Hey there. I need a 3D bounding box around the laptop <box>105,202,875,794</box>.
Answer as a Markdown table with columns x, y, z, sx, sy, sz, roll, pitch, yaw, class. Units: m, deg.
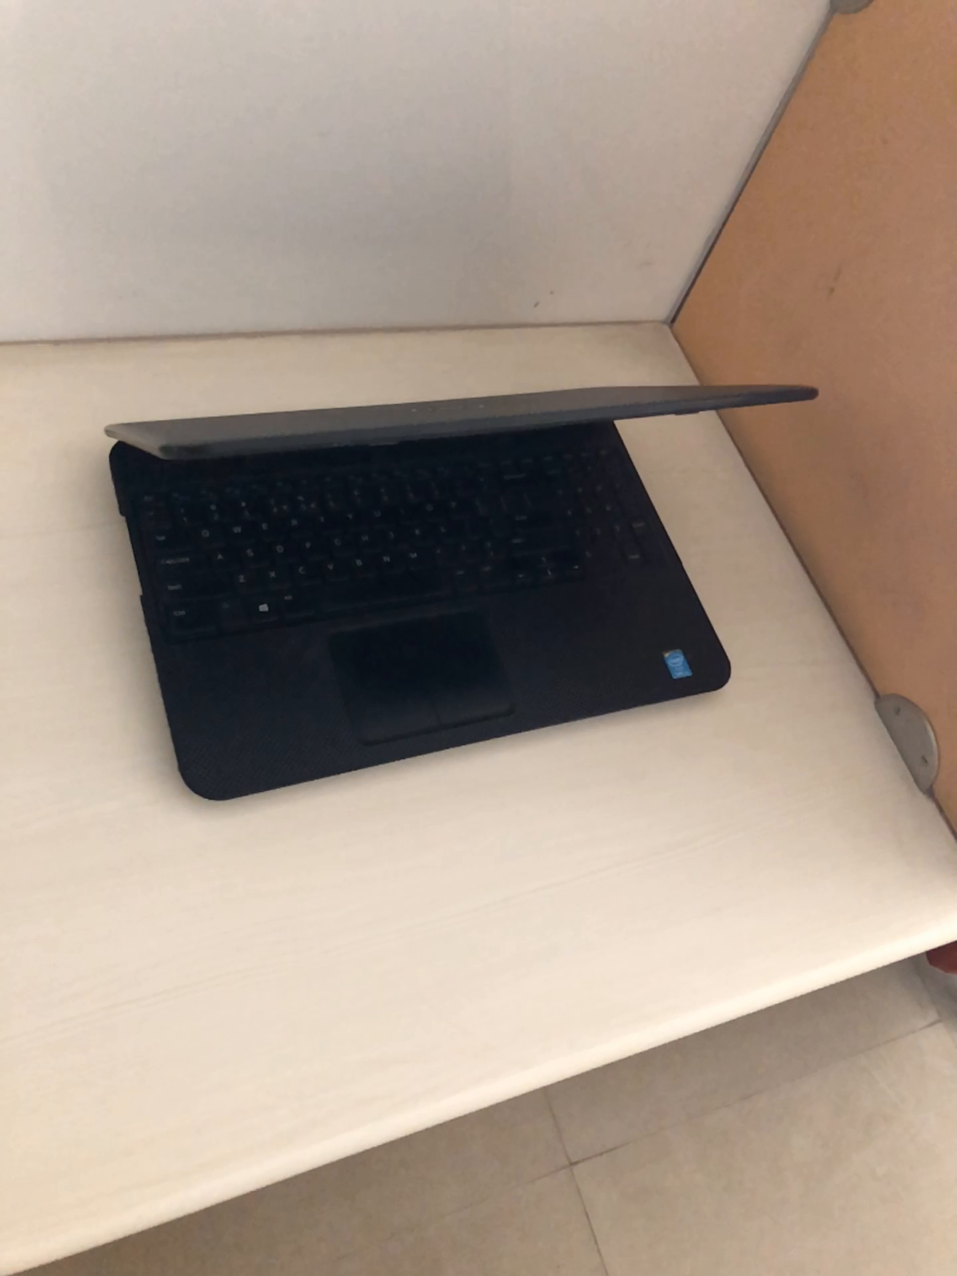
| x | y | z | sx | sy | sz | roll | pitch | yaw | class |
| --- | --- | --- | --- | --- | --- | --- | --- | --- | --- |
| -0.007 | -0.095 | 0.629 | 0.365 | 0.177 | 0.248 | -10 | 63 | -25 | laptop |
